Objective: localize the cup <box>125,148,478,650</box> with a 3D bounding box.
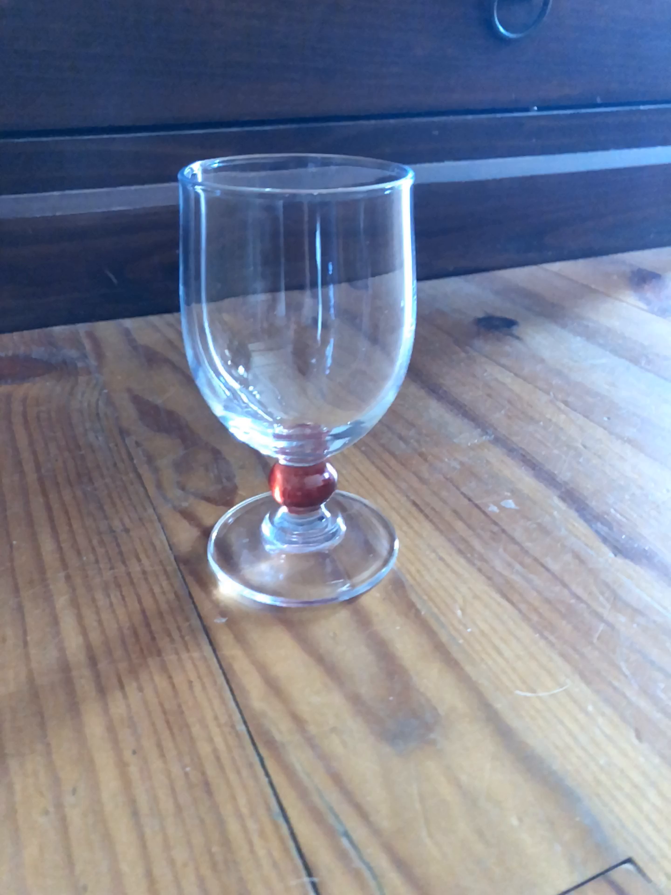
[{"bbox_3d":[-0.014,-0.020,0.243,0.083,0.132,0.088,0,29,0],"label":"cup"}]
